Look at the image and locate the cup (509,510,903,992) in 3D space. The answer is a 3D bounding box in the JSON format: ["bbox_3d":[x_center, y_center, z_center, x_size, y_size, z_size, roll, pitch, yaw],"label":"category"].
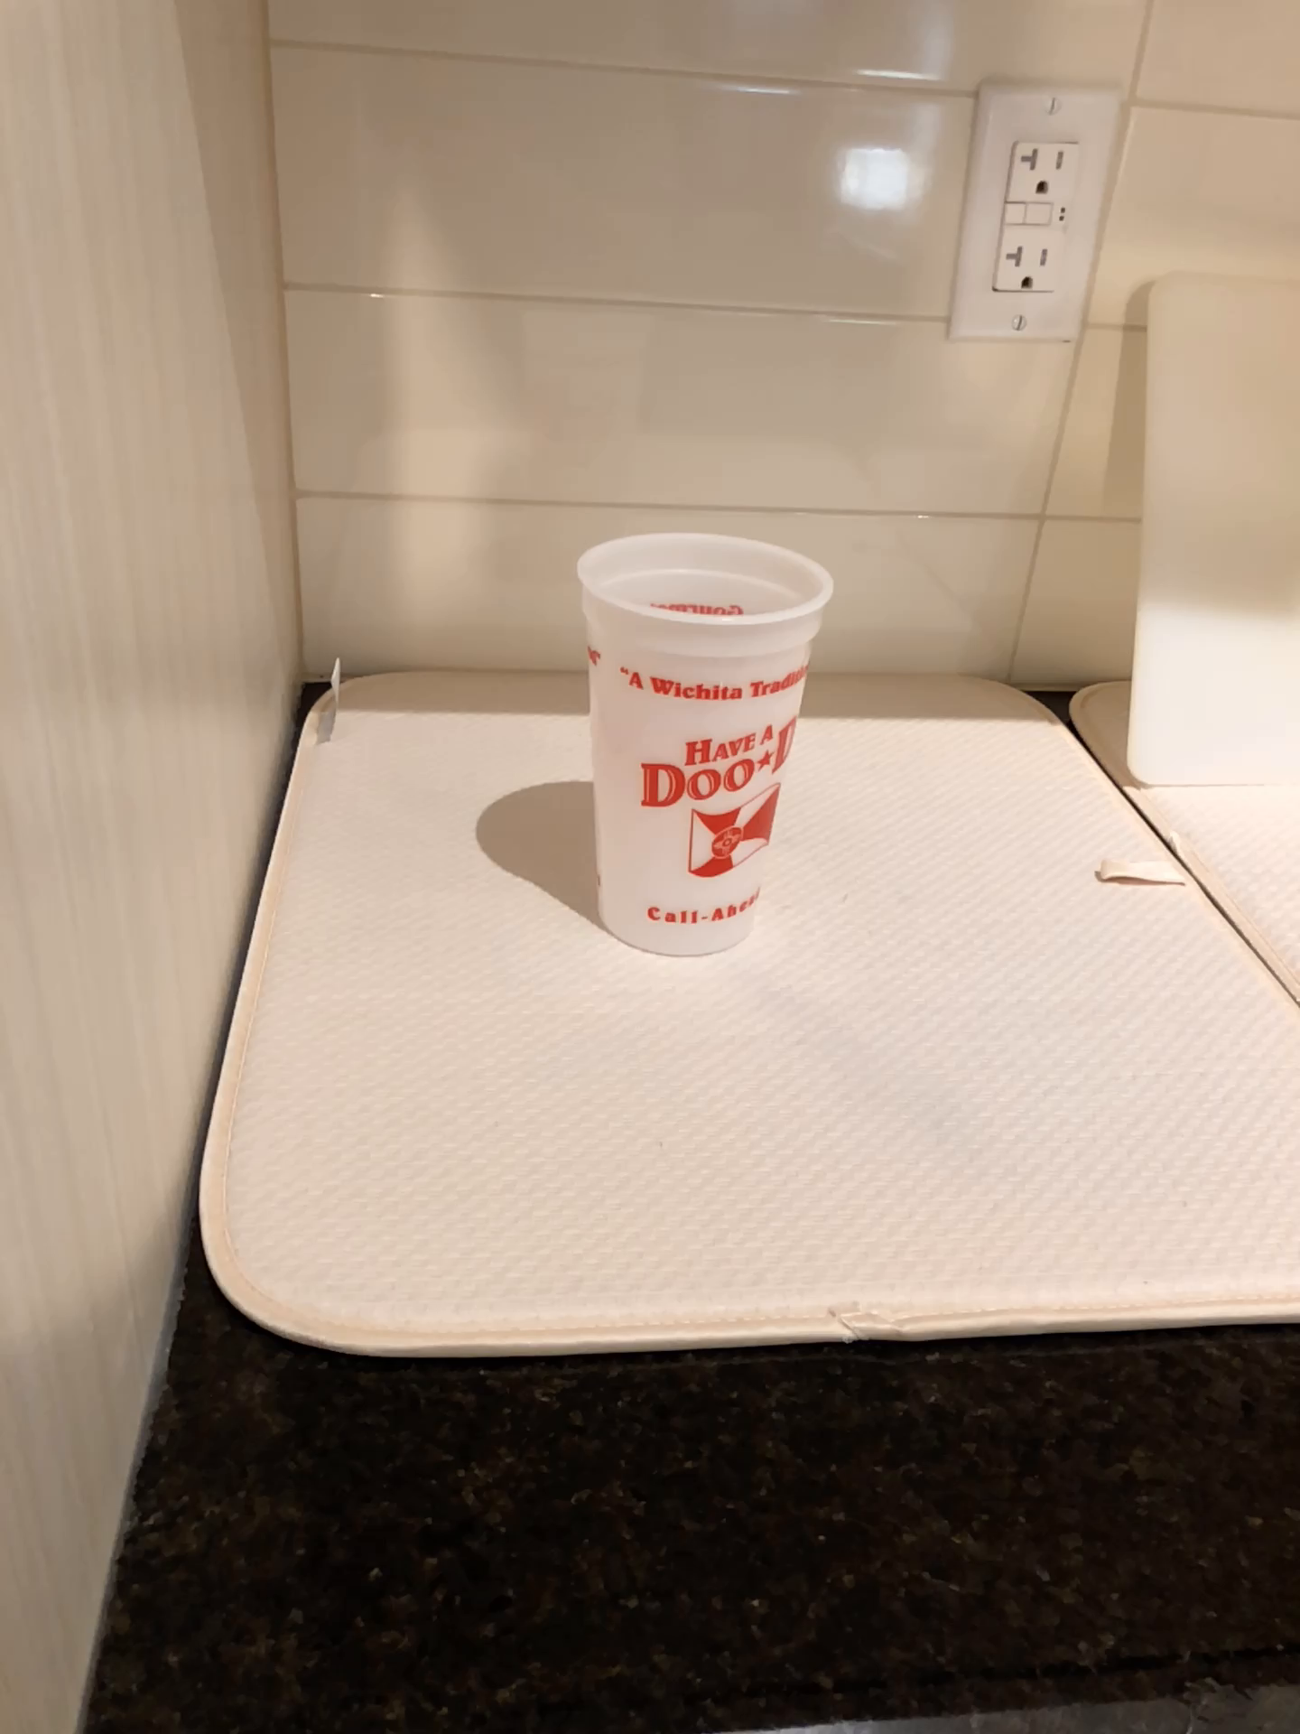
[{"bbox_3d":[0.016,-0.049,0.556,0.100,0.139,0.100,3,30,-2],"label":"cup"}]
